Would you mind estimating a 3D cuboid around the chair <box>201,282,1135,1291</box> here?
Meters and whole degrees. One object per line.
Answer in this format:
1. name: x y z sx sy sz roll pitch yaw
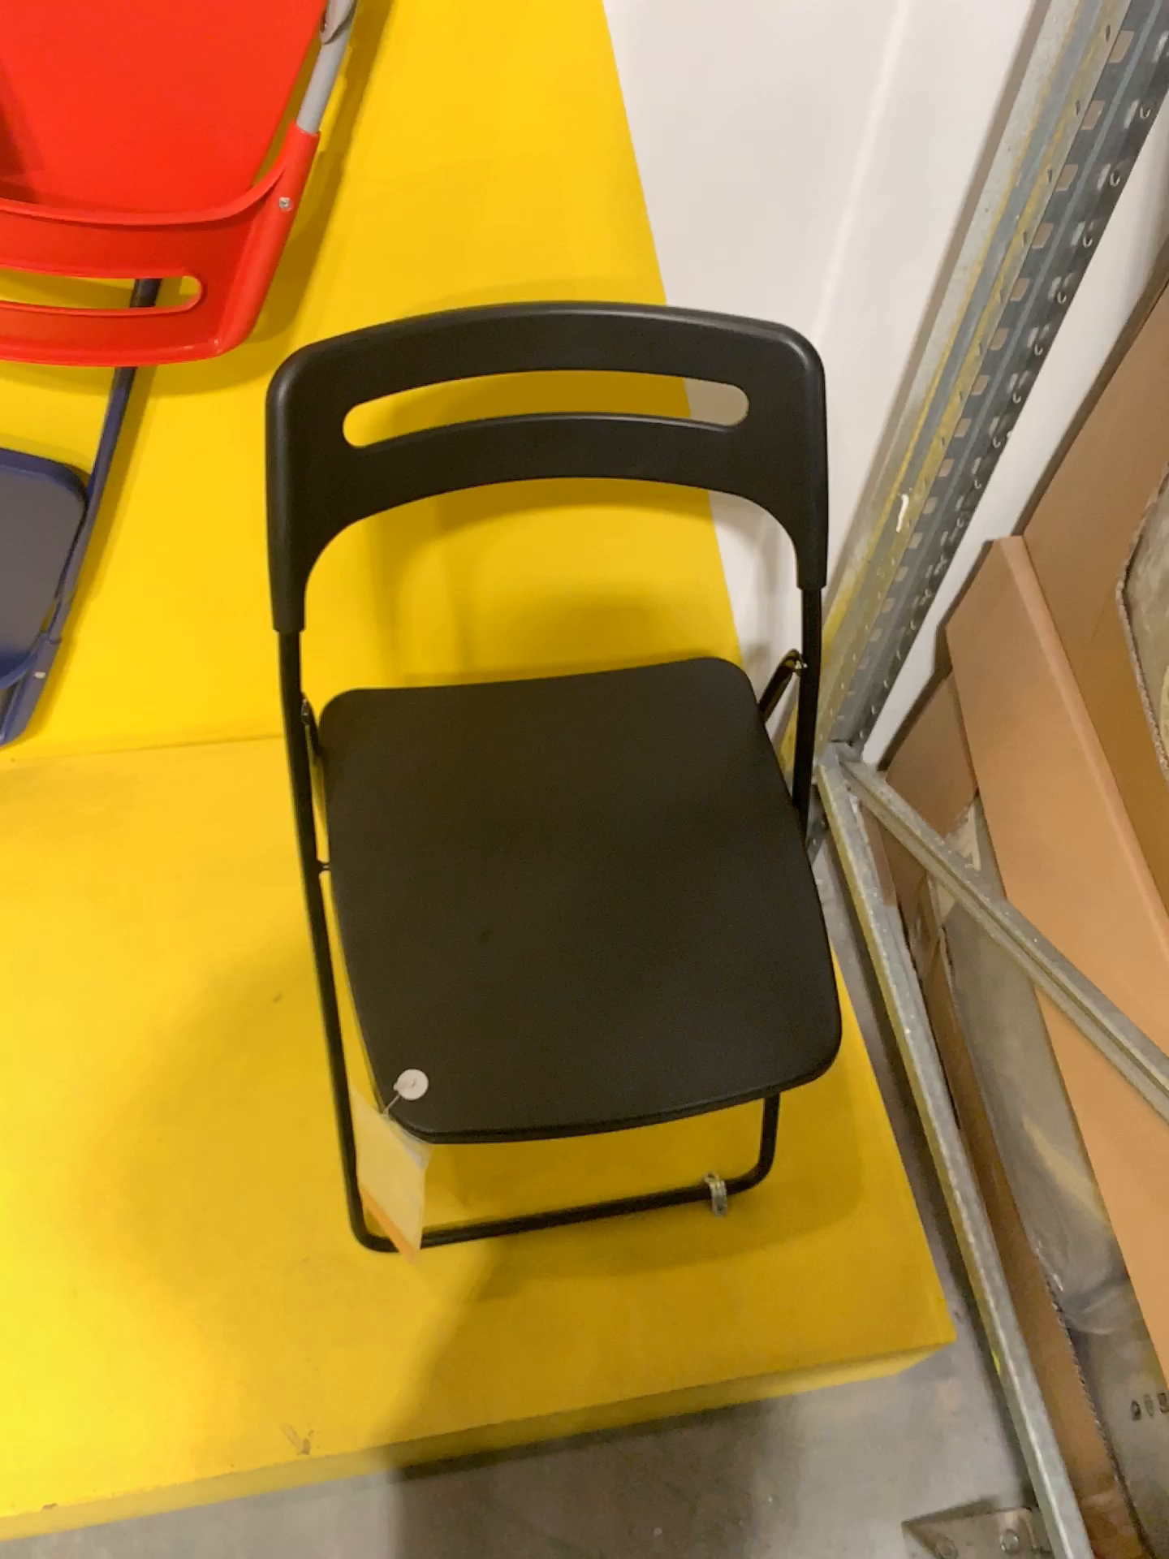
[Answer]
1. chair: -0.015 0.057 0.954 0.440 0.698 0.441 -6 56 -10
